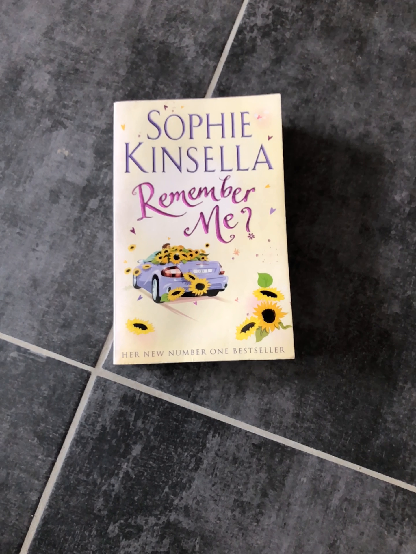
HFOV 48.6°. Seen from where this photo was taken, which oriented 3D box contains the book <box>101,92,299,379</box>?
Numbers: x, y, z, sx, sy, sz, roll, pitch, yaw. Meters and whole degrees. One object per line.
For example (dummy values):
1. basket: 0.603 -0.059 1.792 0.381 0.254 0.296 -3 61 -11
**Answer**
1. book: -0.007 -0.030 0.338 0.130 0.040 0.200 -2 81 2
